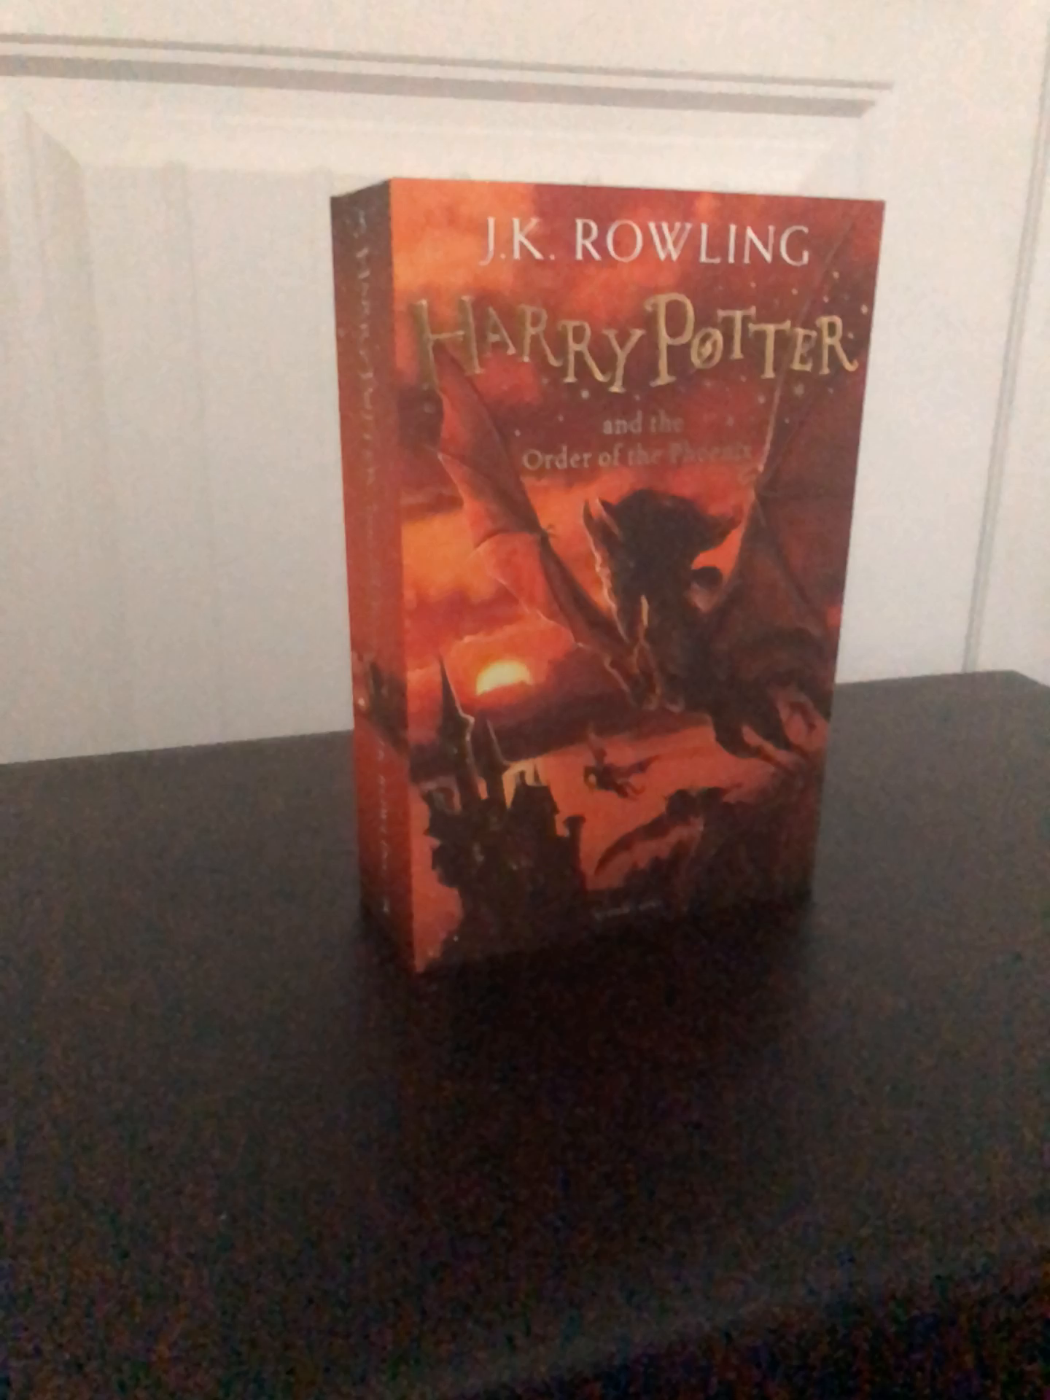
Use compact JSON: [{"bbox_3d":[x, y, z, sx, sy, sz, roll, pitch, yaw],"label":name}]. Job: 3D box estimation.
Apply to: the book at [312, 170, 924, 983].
[{"bbox_3d":[0.022,-0.036,0.321,0.141,0.189,0.061,-8,20,-24],"label":"book"}]
